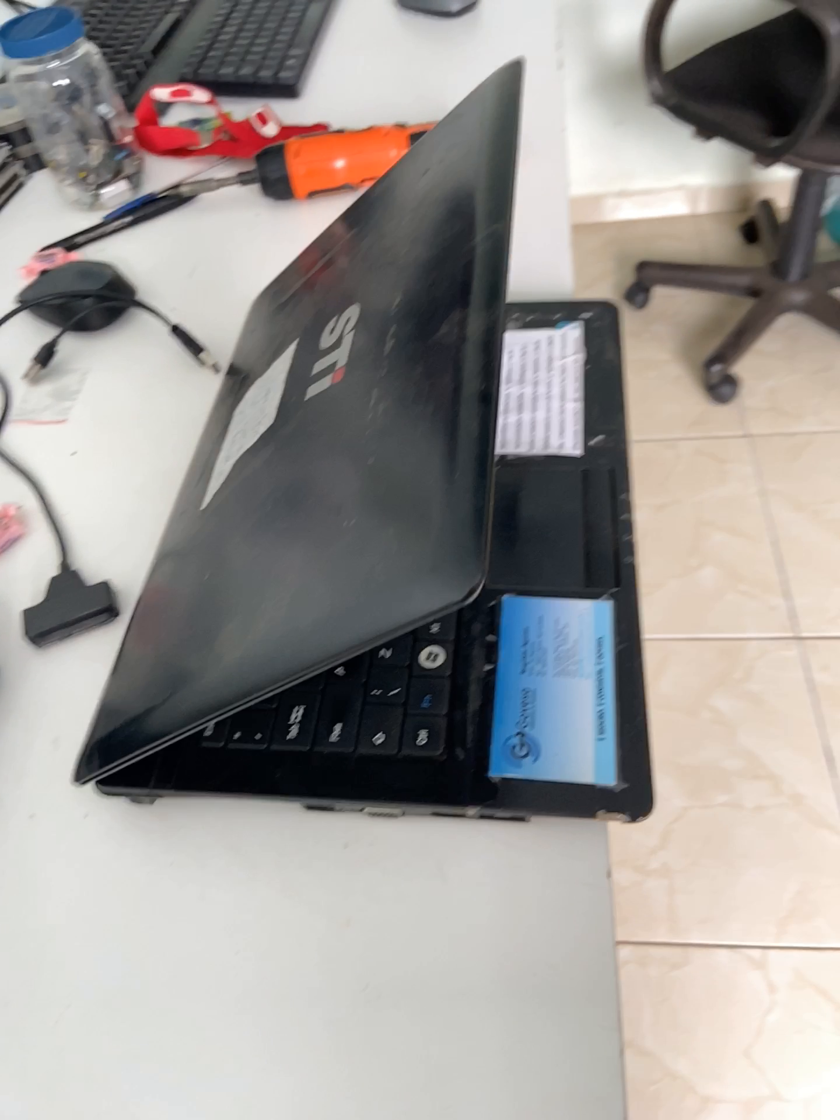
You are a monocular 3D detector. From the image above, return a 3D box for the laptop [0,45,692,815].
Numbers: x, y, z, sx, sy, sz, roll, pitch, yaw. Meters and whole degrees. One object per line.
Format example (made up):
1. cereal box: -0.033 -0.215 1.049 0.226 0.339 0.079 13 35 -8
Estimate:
1. laptop: -0.015 -0.079 0.400 0.227 0.144 0.337 0 52 9
